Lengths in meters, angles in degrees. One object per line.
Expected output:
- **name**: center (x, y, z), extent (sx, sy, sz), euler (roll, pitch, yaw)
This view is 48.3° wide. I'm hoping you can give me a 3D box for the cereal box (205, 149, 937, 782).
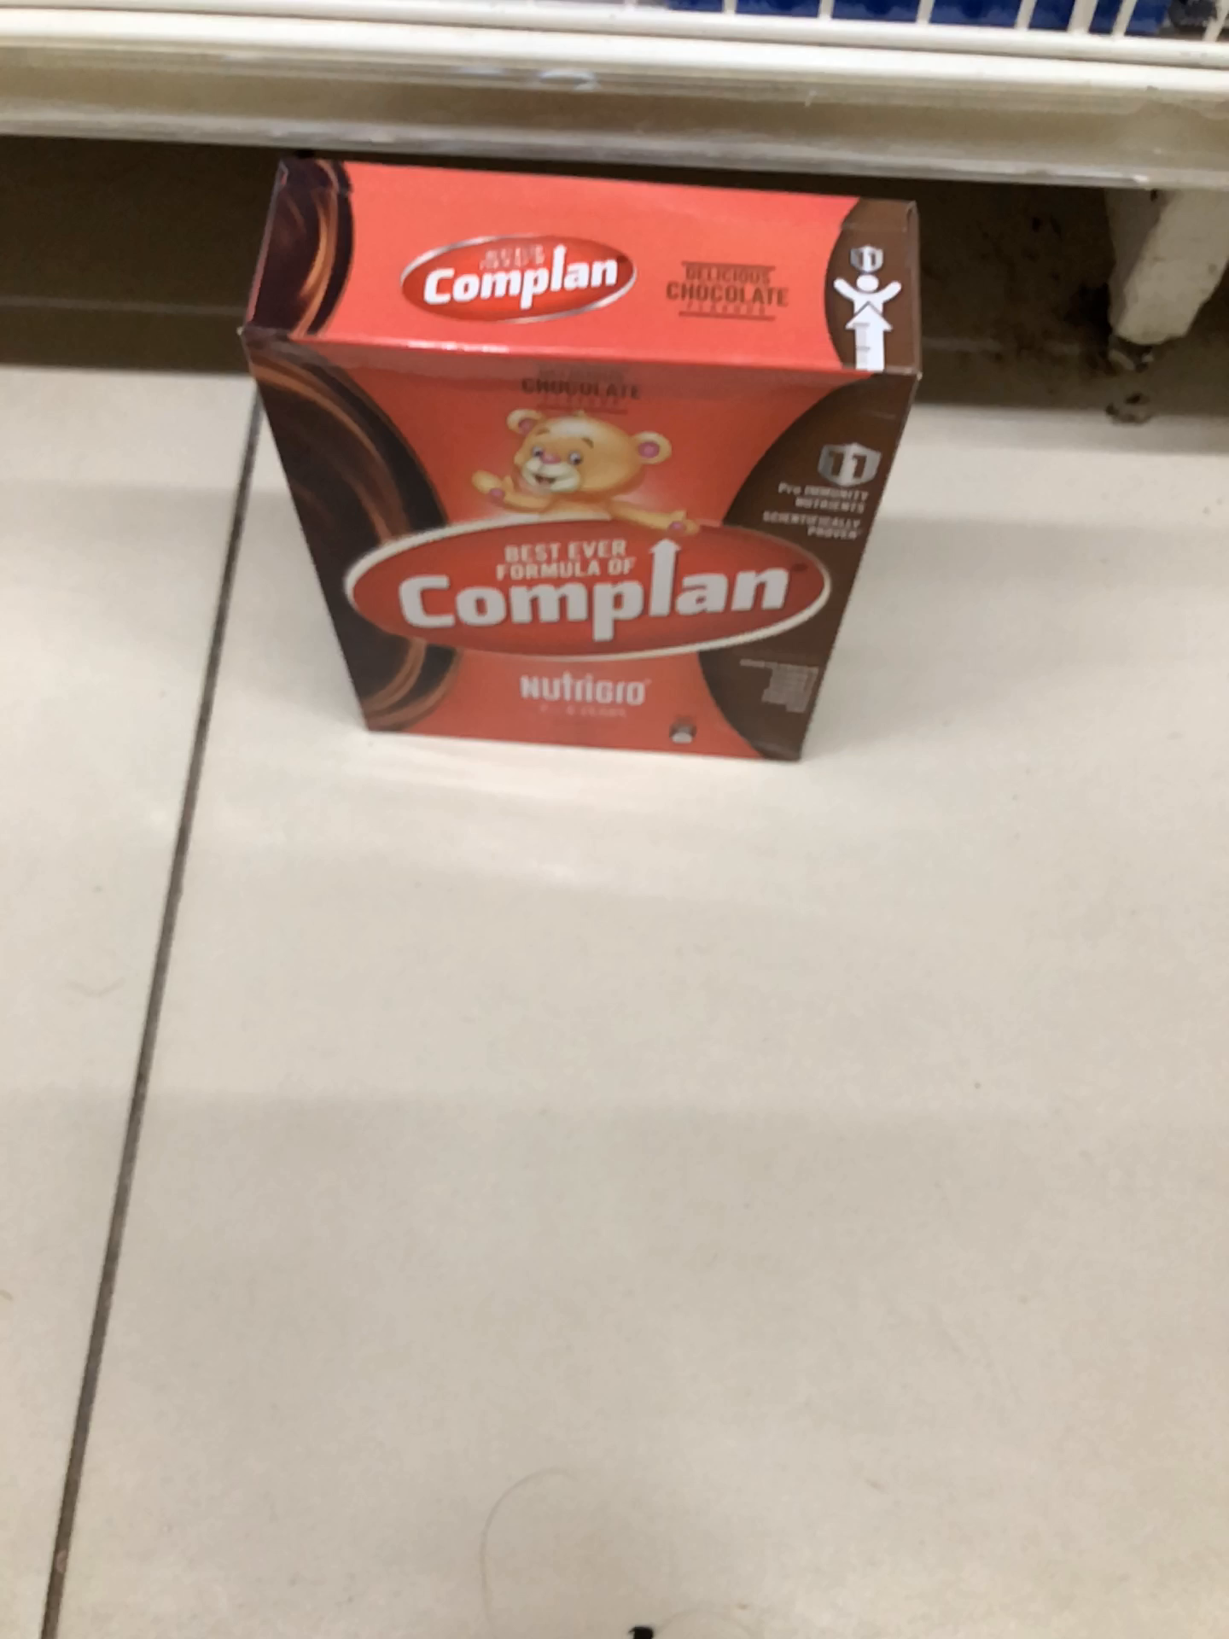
- **cereal box**: center (-0.009, -0.075, 0.354), extent (0.140, 0.179, 0.050), euler (4, 67, 0)
